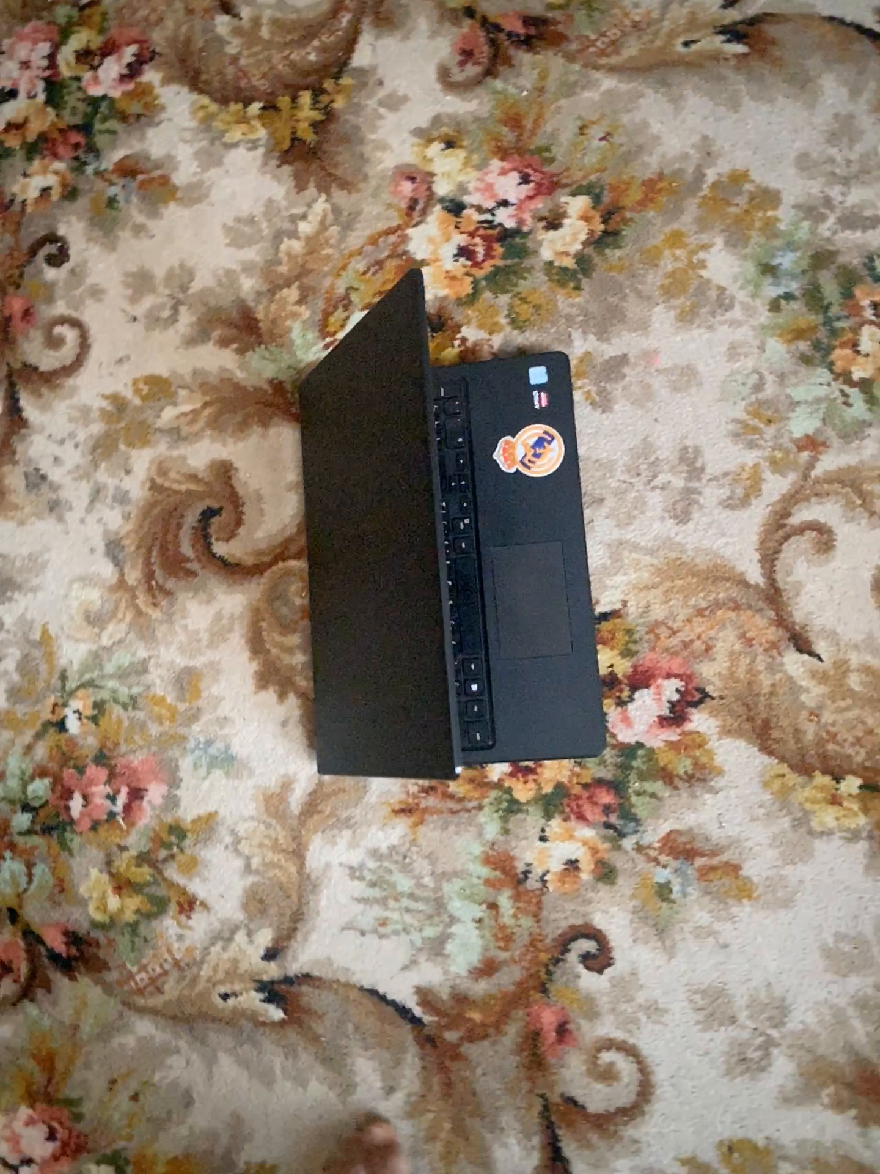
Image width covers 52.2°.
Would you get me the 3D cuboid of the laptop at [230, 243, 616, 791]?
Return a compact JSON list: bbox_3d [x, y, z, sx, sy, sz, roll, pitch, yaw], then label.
[{"bbox_3d":[-0.009,-0.039,0.726,0.251,0.194,0.367,-6,80,9],"label":"laptop"}]
